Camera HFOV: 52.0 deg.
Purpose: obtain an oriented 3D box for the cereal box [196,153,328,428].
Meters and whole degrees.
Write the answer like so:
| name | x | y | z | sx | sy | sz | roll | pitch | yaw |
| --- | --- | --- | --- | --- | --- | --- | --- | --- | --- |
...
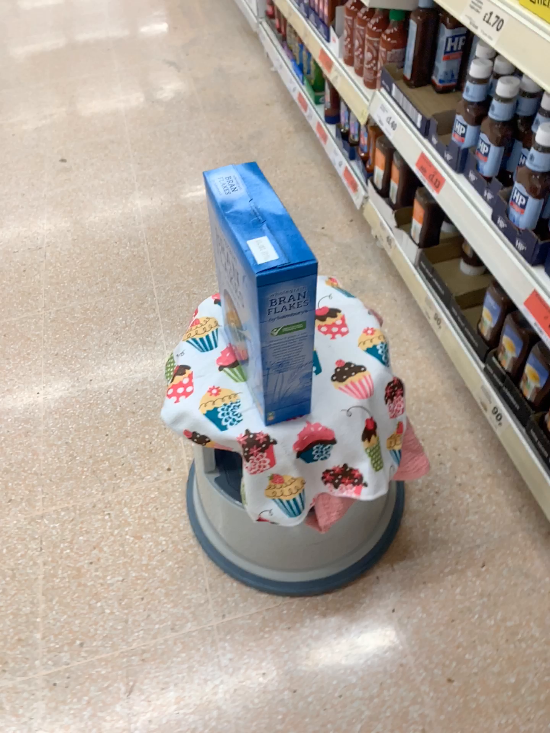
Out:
| name | x | y | z | sx | sy | sz | roll | pitch | yaw |
| --- | --- | --- | --- | --- | --- | --- | --- | --- | --- |
| cereal box | -0.016 | -0.089 | 0.709 | 0.080 | 0.258 | 0.212 | -16 | 51 | -11 |
